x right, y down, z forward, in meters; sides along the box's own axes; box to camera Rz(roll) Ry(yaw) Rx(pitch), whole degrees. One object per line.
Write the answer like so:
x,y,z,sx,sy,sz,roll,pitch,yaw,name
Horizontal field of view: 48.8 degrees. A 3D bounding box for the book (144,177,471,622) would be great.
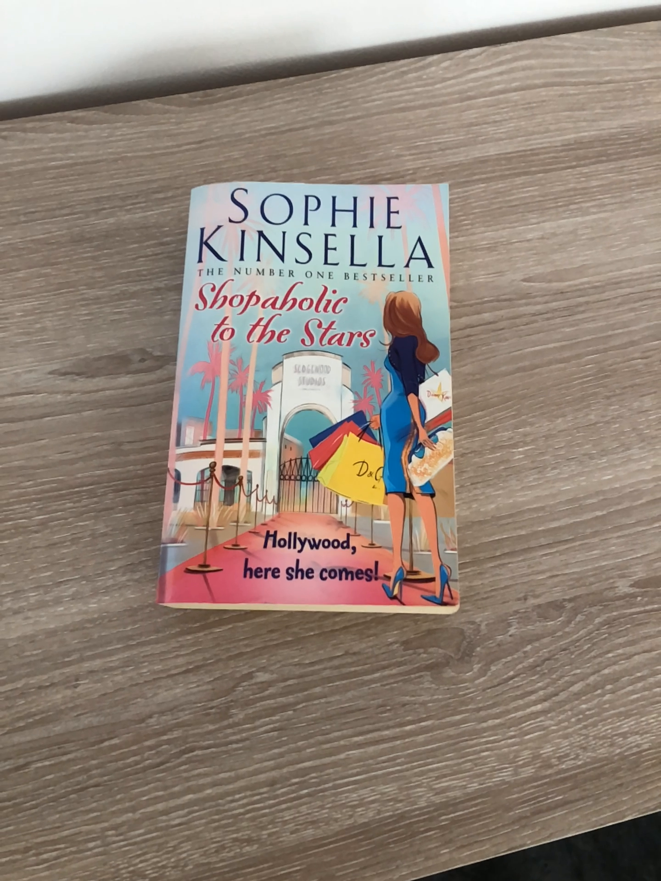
-0.008,-0.021,0.337,0.130,0.040,0.200,2,74,-2,book
